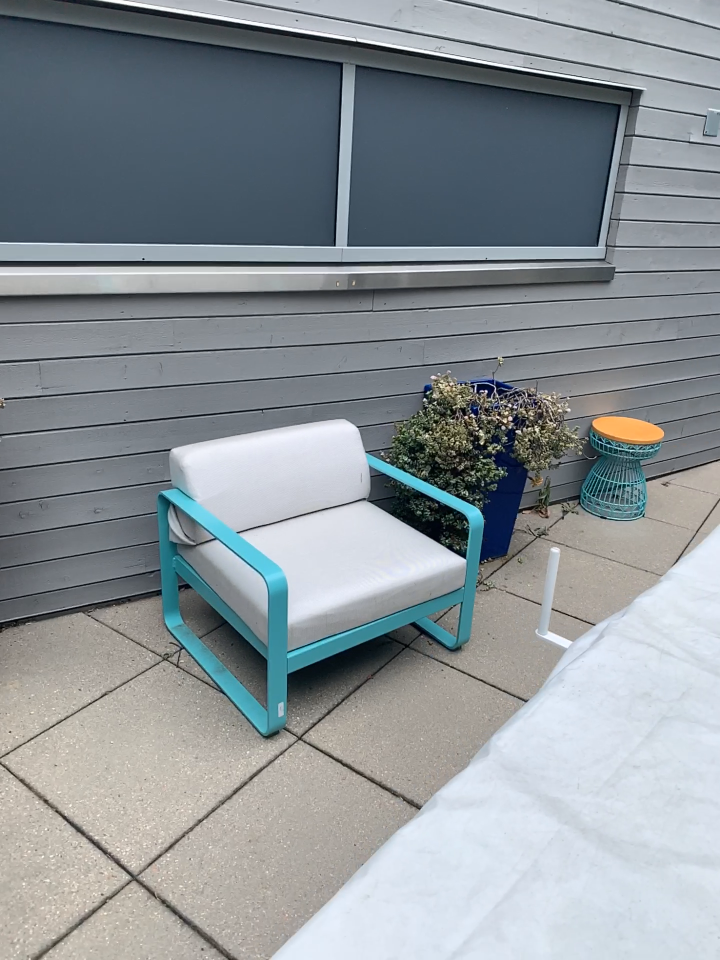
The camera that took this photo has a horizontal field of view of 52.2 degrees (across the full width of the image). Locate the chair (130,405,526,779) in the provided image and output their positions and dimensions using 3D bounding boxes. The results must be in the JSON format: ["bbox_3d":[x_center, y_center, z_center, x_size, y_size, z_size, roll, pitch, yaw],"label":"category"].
[{"bbox_3d":[-0.142,0.269,2.559,0.970,0.736,0.904,-13,27,-35],"label":"chair"}]
